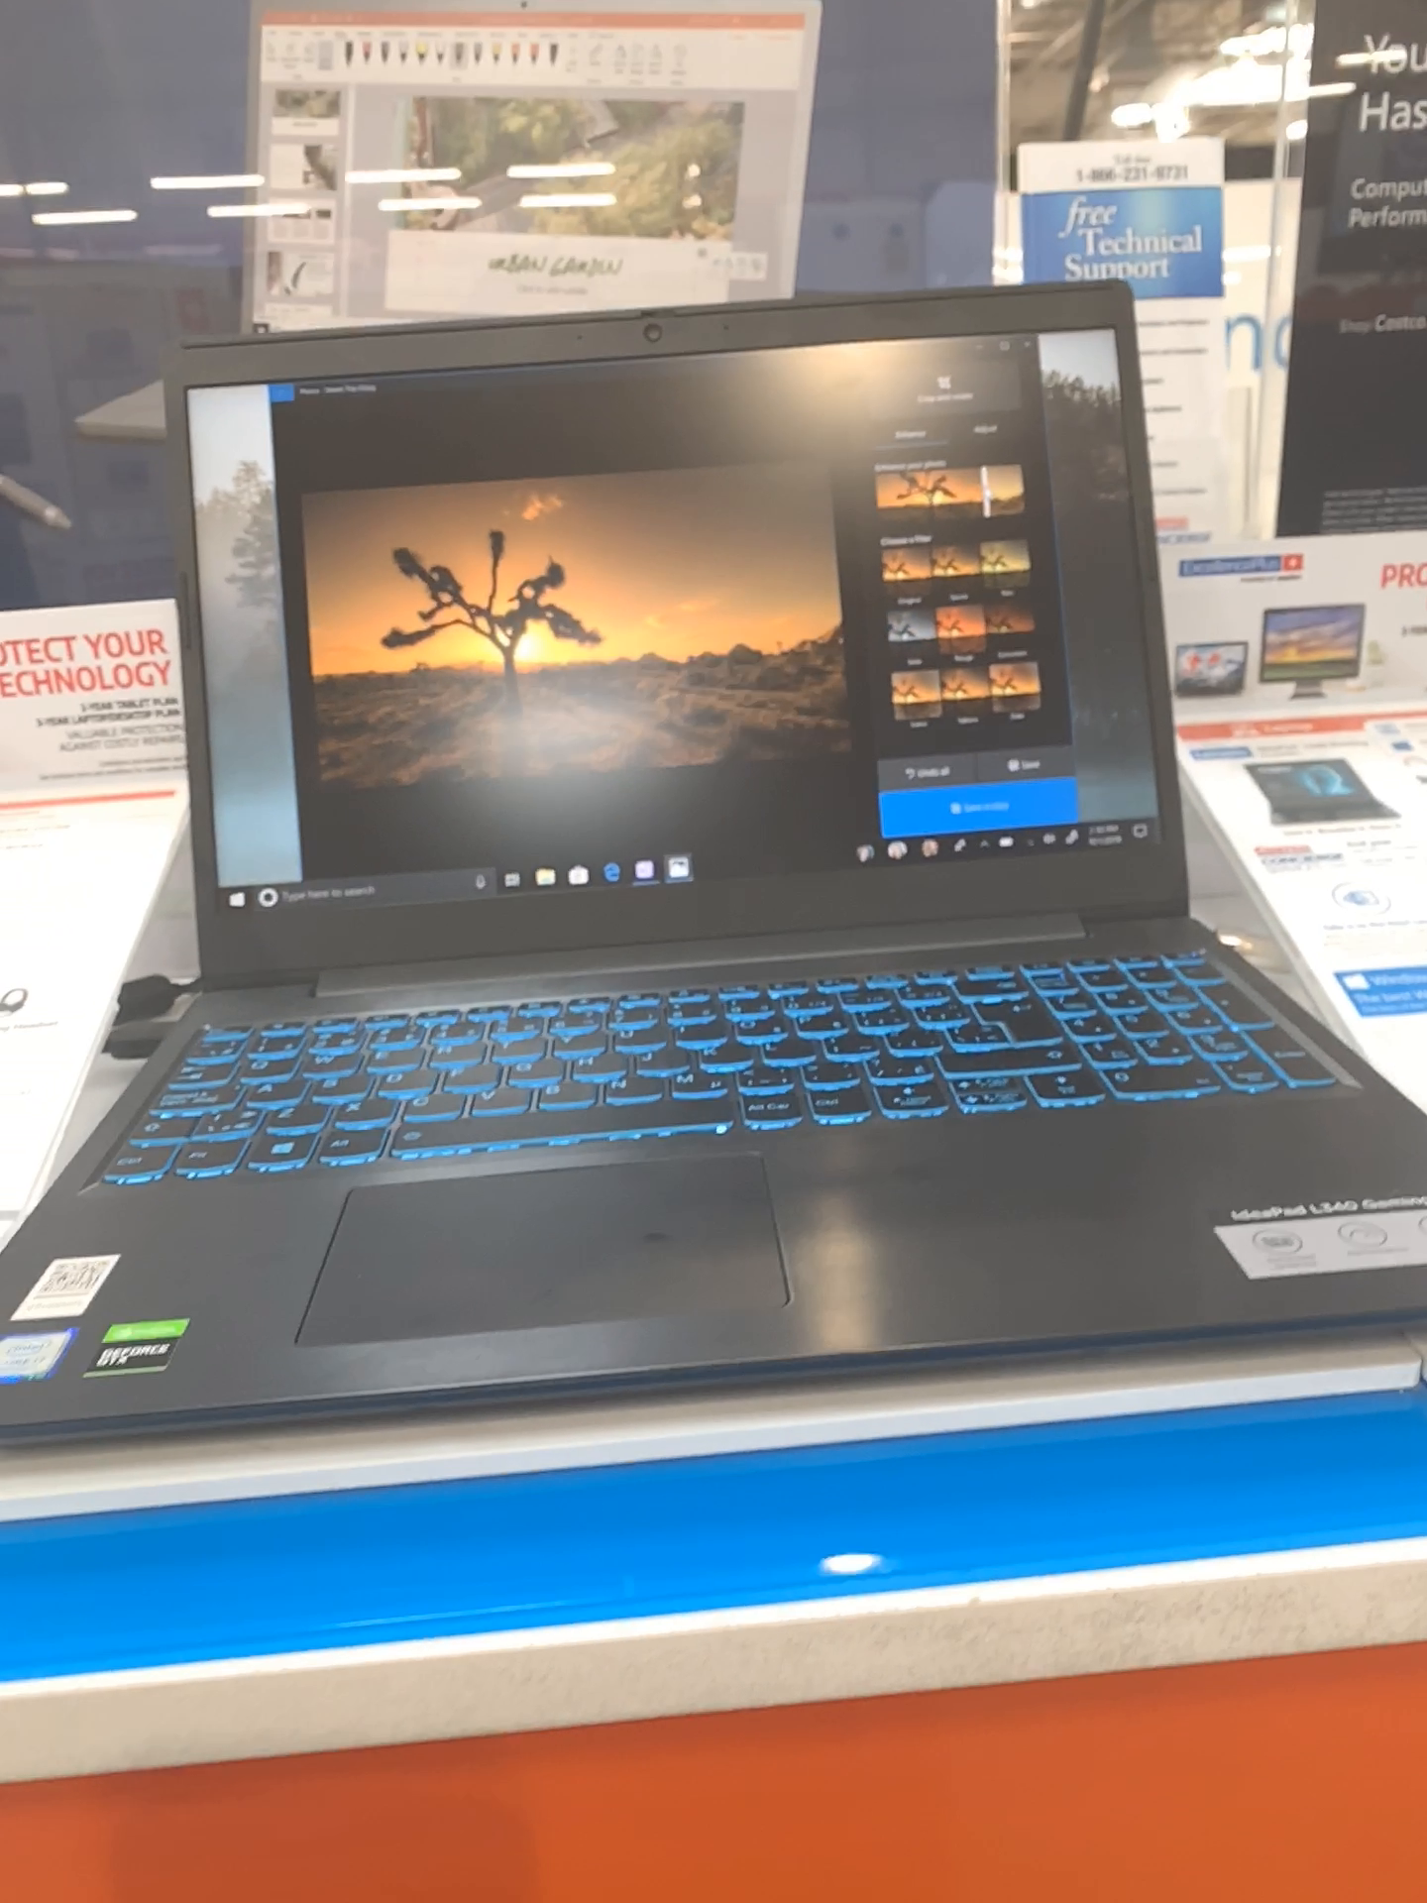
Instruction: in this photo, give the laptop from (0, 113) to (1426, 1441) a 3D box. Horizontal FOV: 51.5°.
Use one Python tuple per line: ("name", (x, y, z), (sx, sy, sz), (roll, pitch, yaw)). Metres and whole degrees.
("laptop", (0.006, -0.076, 0.414), (0.340, 0.215, 0.330), (-4, 19, -3))
